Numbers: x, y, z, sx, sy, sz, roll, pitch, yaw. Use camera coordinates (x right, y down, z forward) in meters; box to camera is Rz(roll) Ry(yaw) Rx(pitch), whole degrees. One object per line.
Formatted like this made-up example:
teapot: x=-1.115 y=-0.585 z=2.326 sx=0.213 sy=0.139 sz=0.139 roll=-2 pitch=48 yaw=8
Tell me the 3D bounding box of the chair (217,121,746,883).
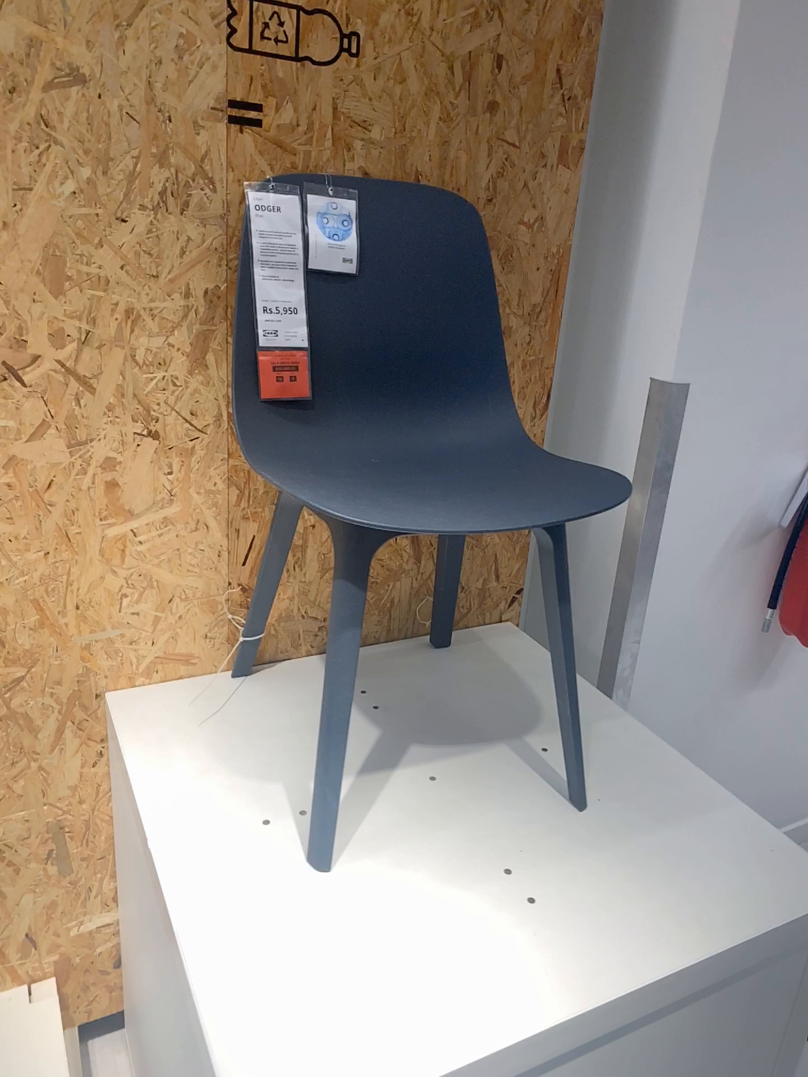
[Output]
chair: x=0.020 y=-0.078 z=1.086 sx=0.430 sy=0.767 sz=0.502 roll=-4 pitch=22 yaw=-23
